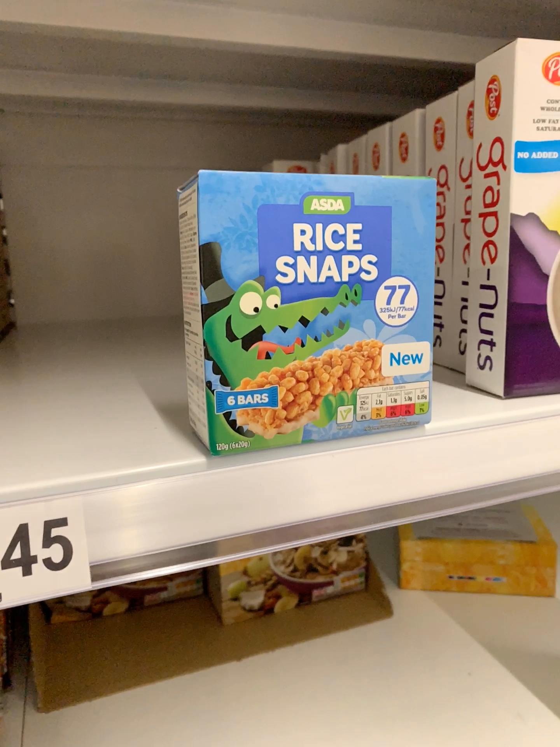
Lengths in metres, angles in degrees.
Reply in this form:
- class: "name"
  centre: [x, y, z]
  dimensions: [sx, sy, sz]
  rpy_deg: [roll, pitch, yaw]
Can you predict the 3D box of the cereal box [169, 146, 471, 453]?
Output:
- class: "cereal box"
  centre: [0.021, -0.039, 0.297]
  dimensions: [0.140, 0.129, 0.050]
  rpy_deg: [-5, 11, -22]
